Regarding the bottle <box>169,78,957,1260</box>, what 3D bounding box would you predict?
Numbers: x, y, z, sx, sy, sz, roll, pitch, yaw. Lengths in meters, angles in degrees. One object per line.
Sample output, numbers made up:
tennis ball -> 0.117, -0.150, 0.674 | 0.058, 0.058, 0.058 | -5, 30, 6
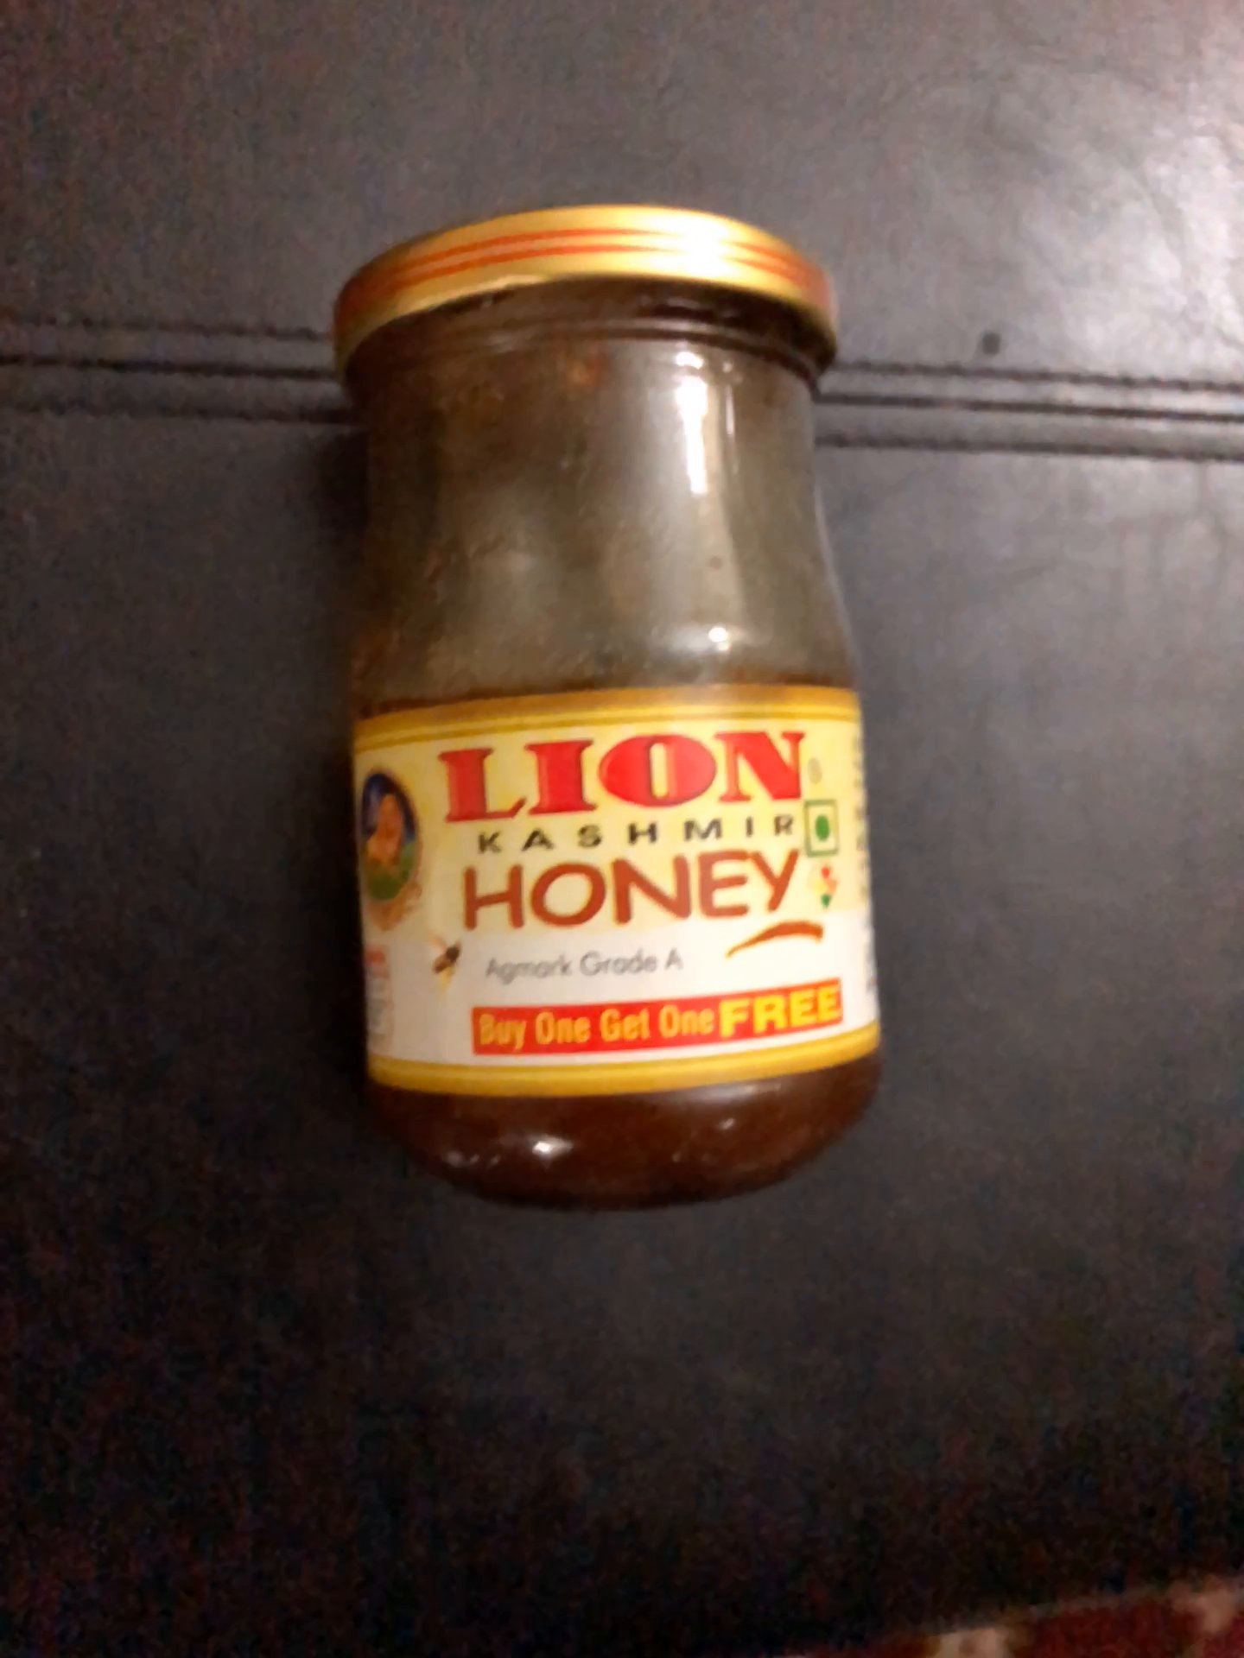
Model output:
bottle -> -0.008, -0.016, 0.170 | 0.068, 0.070, 0.110 | -3, 88, -5
